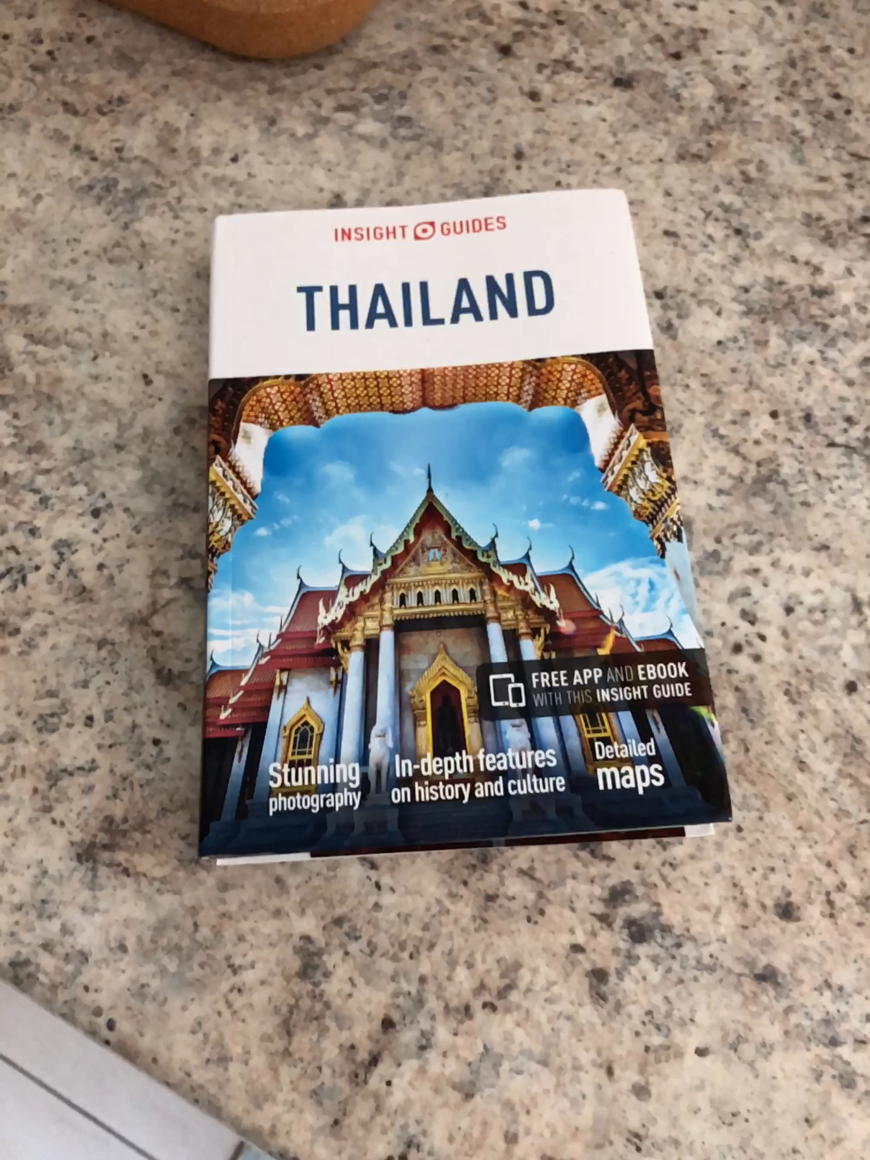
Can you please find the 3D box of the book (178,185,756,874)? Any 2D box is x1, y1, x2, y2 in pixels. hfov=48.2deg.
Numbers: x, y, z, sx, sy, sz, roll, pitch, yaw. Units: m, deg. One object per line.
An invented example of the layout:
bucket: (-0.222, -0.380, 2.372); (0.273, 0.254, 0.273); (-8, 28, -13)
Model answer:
book: (0.003, -0.030, 0.336); (0.164, 0.030, 0.240); (-3, 67, 0)
